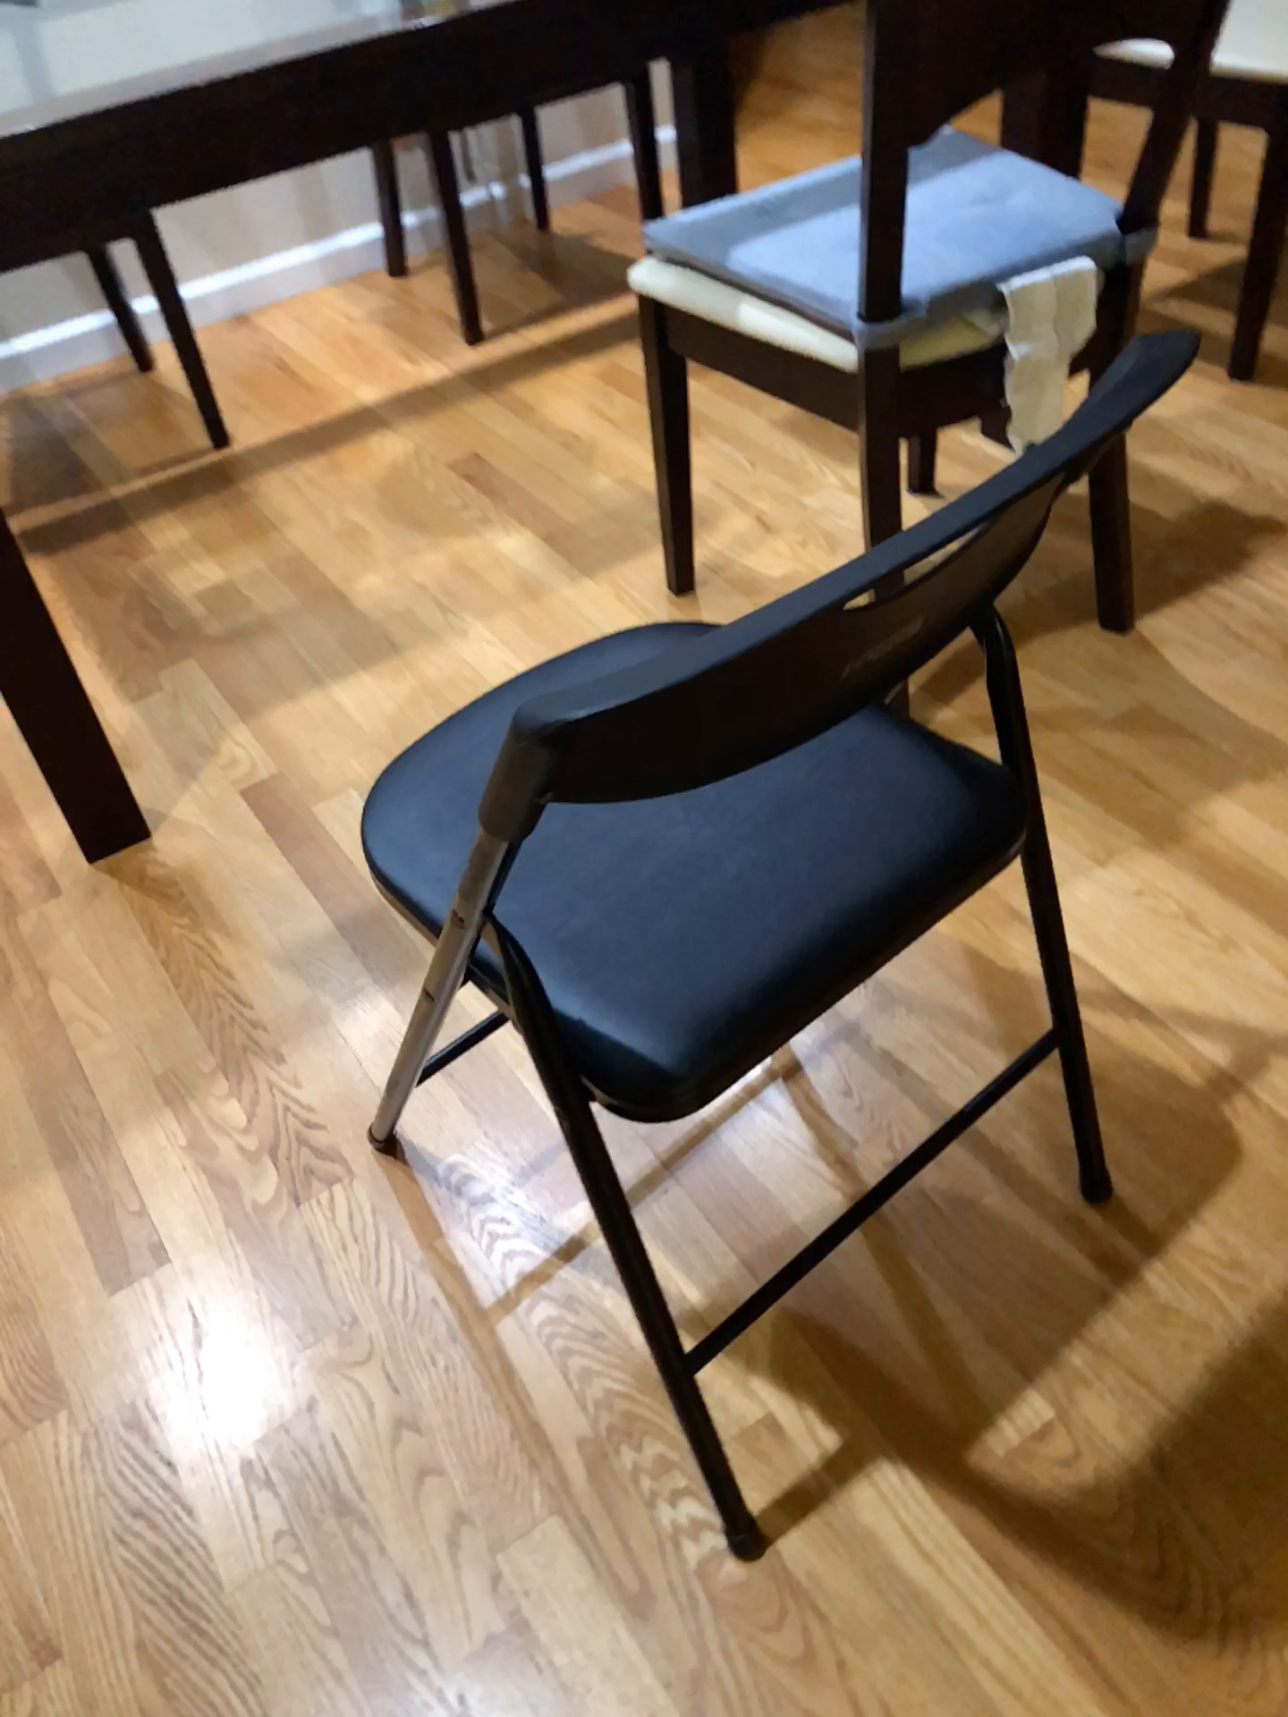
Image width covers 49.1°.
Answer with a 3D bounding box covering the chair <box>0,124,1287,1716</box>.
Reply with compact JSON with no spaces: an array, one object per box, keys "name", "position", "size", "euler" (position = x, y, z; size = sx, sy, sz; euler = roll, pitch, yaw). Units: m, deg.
[{"name":"chair","position":[0.061,0.002,0.946],"size":[0.611,0.657,0.682],"euler":[-34,49,-25]}]
